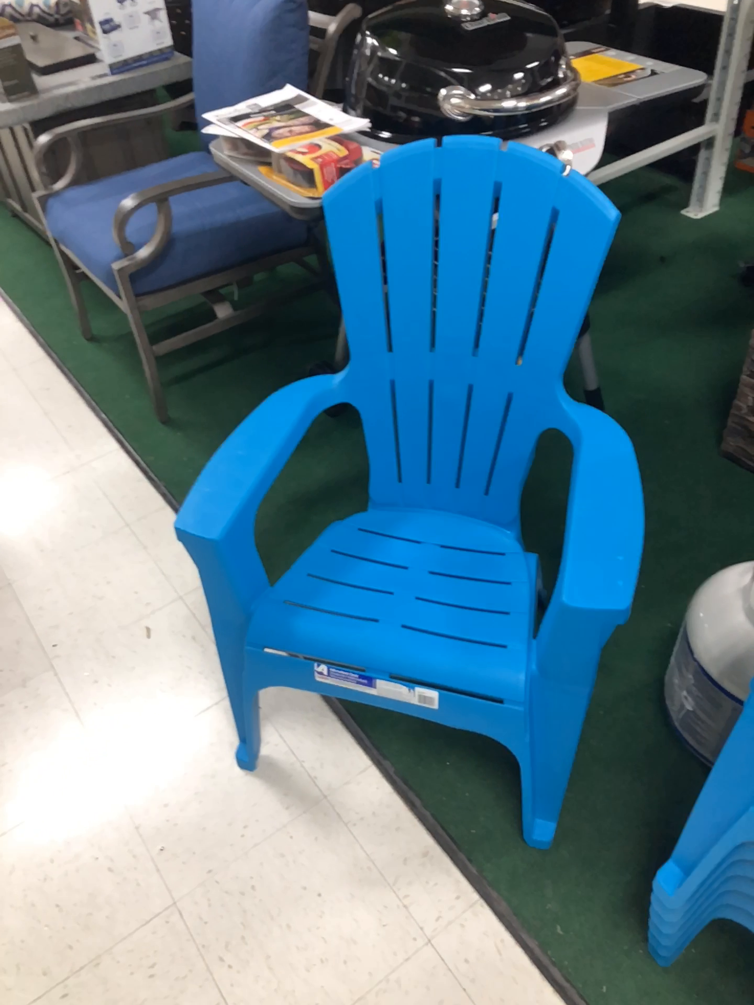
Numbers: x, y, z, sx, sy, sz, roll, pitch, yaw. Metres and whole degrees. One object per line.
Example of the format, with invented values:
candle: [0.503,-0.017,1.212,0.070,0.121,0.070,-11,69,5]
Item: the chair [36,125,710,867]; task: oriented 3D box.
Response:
chair: [0.080,-0.006,1.358,0.681,0.932,0.649,10,46,16]
